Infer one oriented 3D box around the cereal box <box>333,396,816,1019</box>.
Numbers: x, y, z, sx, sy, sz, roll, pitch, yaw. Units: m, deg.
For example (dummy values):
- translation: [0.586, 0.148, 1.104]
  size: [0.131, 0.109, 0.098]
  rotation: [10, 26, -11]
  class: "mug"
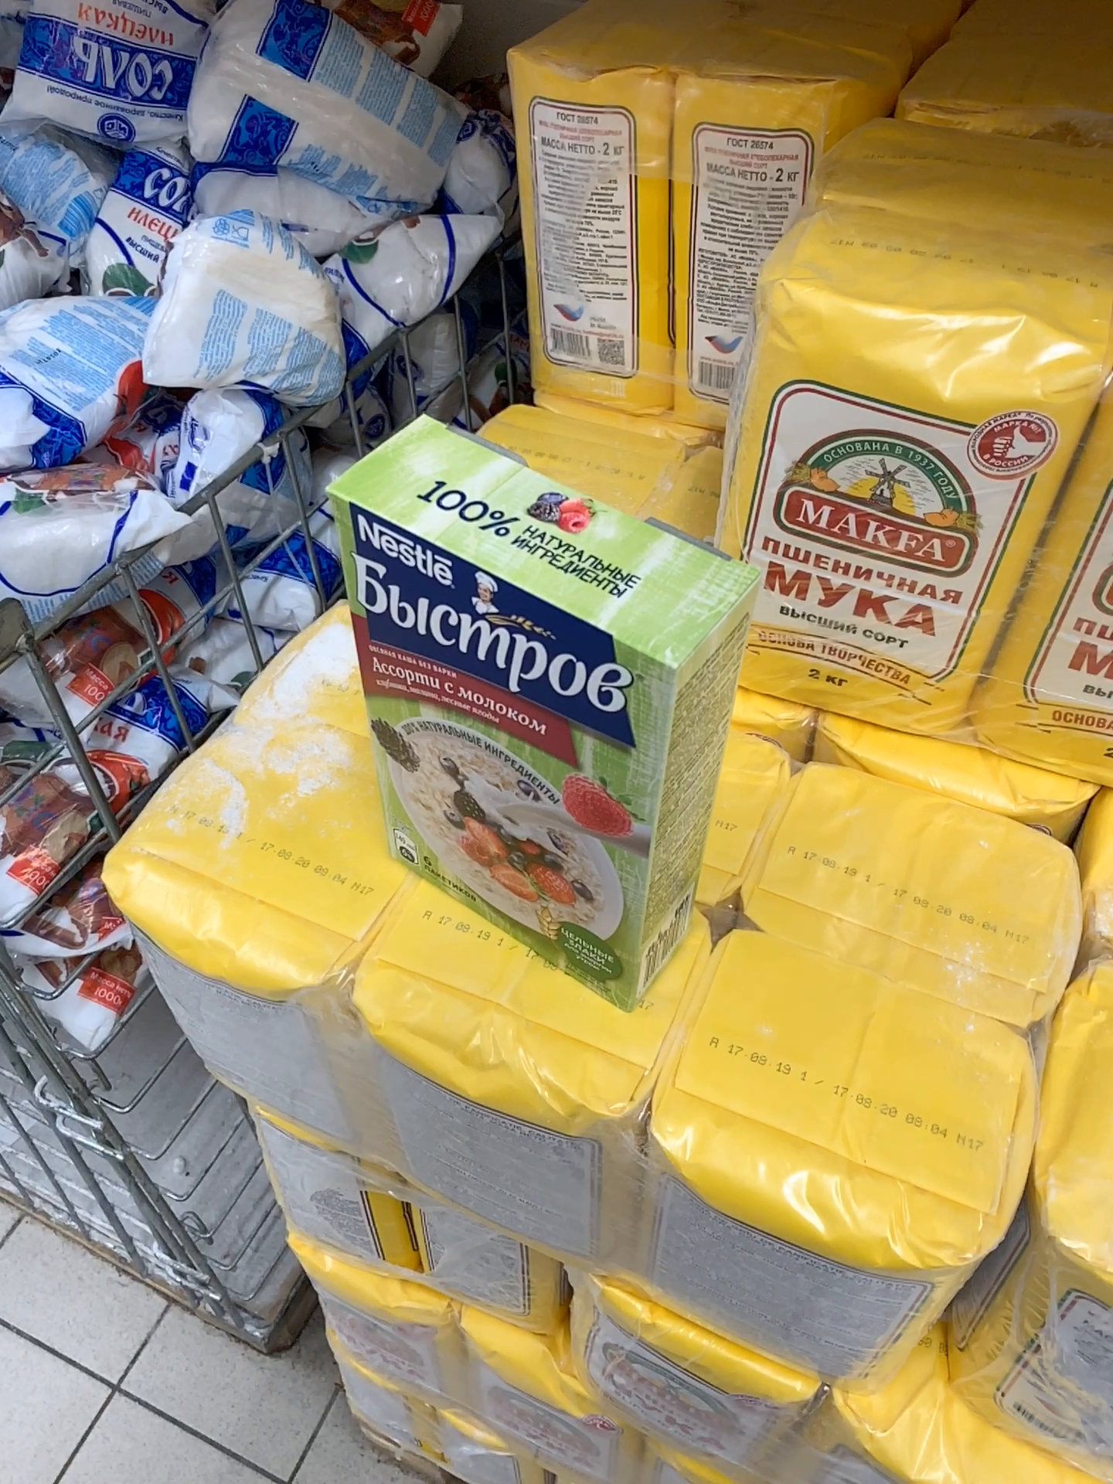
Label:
- translation: [0.003, -0.002, 0.368]
  size: [0.120, 0.179, 0.050]
  rotation: [30, 58, 22]
  class: "cereal box"
